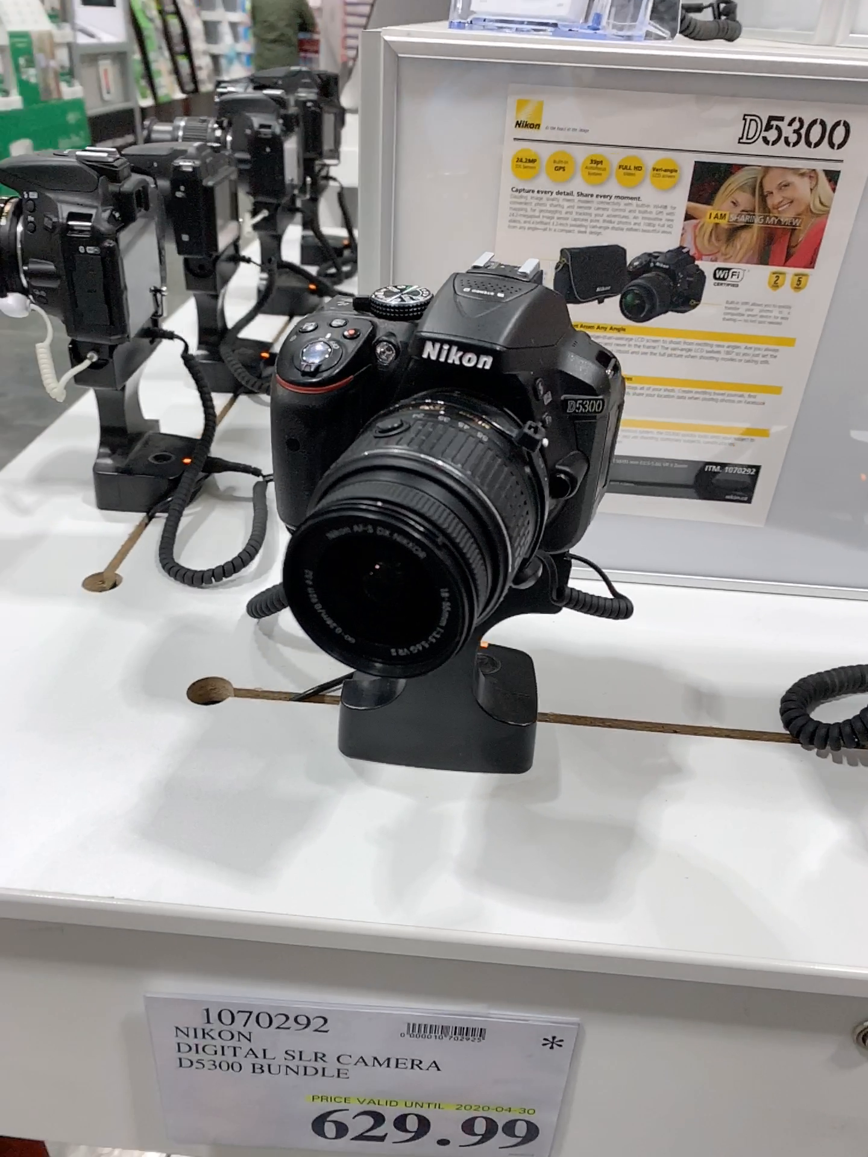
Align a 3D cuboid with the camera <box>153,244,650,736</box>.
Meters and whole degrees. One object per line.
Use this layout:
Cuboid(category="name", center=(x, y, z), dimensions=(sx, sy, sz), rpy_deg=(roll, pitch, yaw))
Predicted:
Cuboid(category="camera", center=(0.001, -0.044, 0.311), dimensions=(0.120, 0.099, 0.151), rpy_deg=(10, 32, 12))
